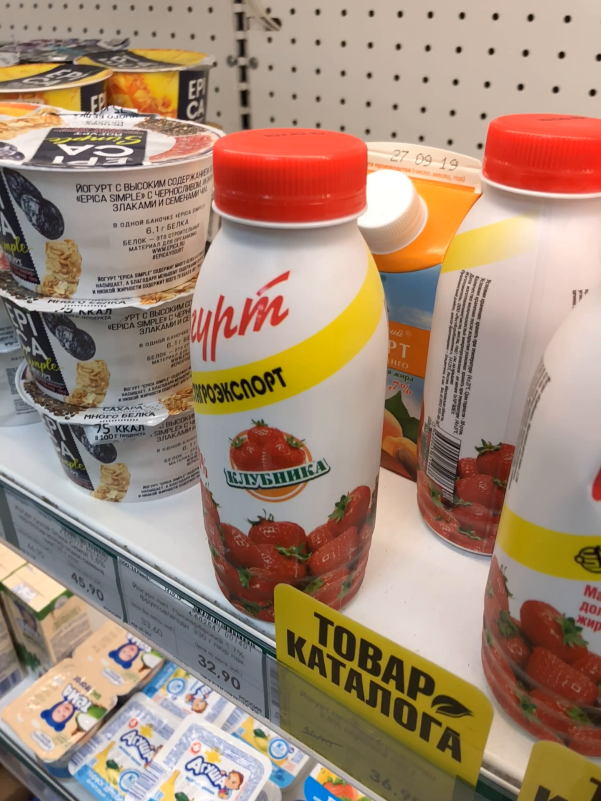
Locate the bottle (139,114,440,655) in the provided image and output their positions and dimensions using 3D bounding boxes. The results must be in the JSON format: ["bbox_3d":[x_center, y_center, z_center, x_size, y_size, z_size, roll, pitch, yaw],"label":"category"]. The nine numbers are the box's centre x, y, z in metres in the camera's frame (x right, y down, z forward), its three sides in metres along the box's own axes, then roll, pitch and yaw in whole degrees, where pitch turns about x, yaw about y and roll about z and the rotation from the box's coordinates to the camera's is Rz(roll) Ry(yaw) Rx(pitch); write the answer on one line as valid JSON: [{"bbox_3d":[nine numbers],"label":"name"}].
[{"bbox_3d":[-0.005,-0.002,0.205,0.056,0.146,0.058,-1,32,0],"label":"bottle"}]

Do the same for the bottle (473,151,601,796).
[{"bbox_3d":[0.082,0.023,0.164,0.058,0.146,0.057,-1,32,0],"label":"bottle"}]

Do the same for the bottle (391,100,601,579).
[{"bbox_3d":[0.069,-0.017,0.226,0.052,0.146,0.055,-1,32,0],"label":"bottle"}]
